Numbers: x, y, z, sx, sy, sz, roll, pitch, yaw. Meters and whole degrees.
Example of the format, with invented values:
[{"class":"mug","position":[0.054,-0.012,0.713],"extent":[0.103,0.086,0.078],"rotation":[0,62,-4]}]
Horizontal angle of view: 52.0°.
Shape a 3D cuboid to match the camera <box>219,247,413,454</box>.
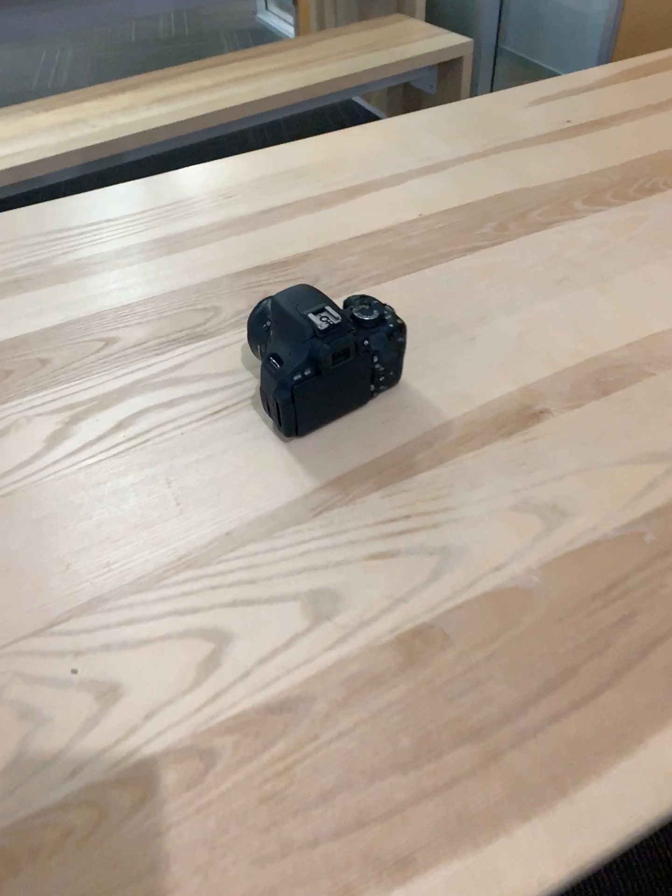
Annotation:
[{"class":"camera","position":[-0.019,-0.090,0.619],"extent":[0.120,0.101,0.114],"rotation":[-28,57,-22]}]
